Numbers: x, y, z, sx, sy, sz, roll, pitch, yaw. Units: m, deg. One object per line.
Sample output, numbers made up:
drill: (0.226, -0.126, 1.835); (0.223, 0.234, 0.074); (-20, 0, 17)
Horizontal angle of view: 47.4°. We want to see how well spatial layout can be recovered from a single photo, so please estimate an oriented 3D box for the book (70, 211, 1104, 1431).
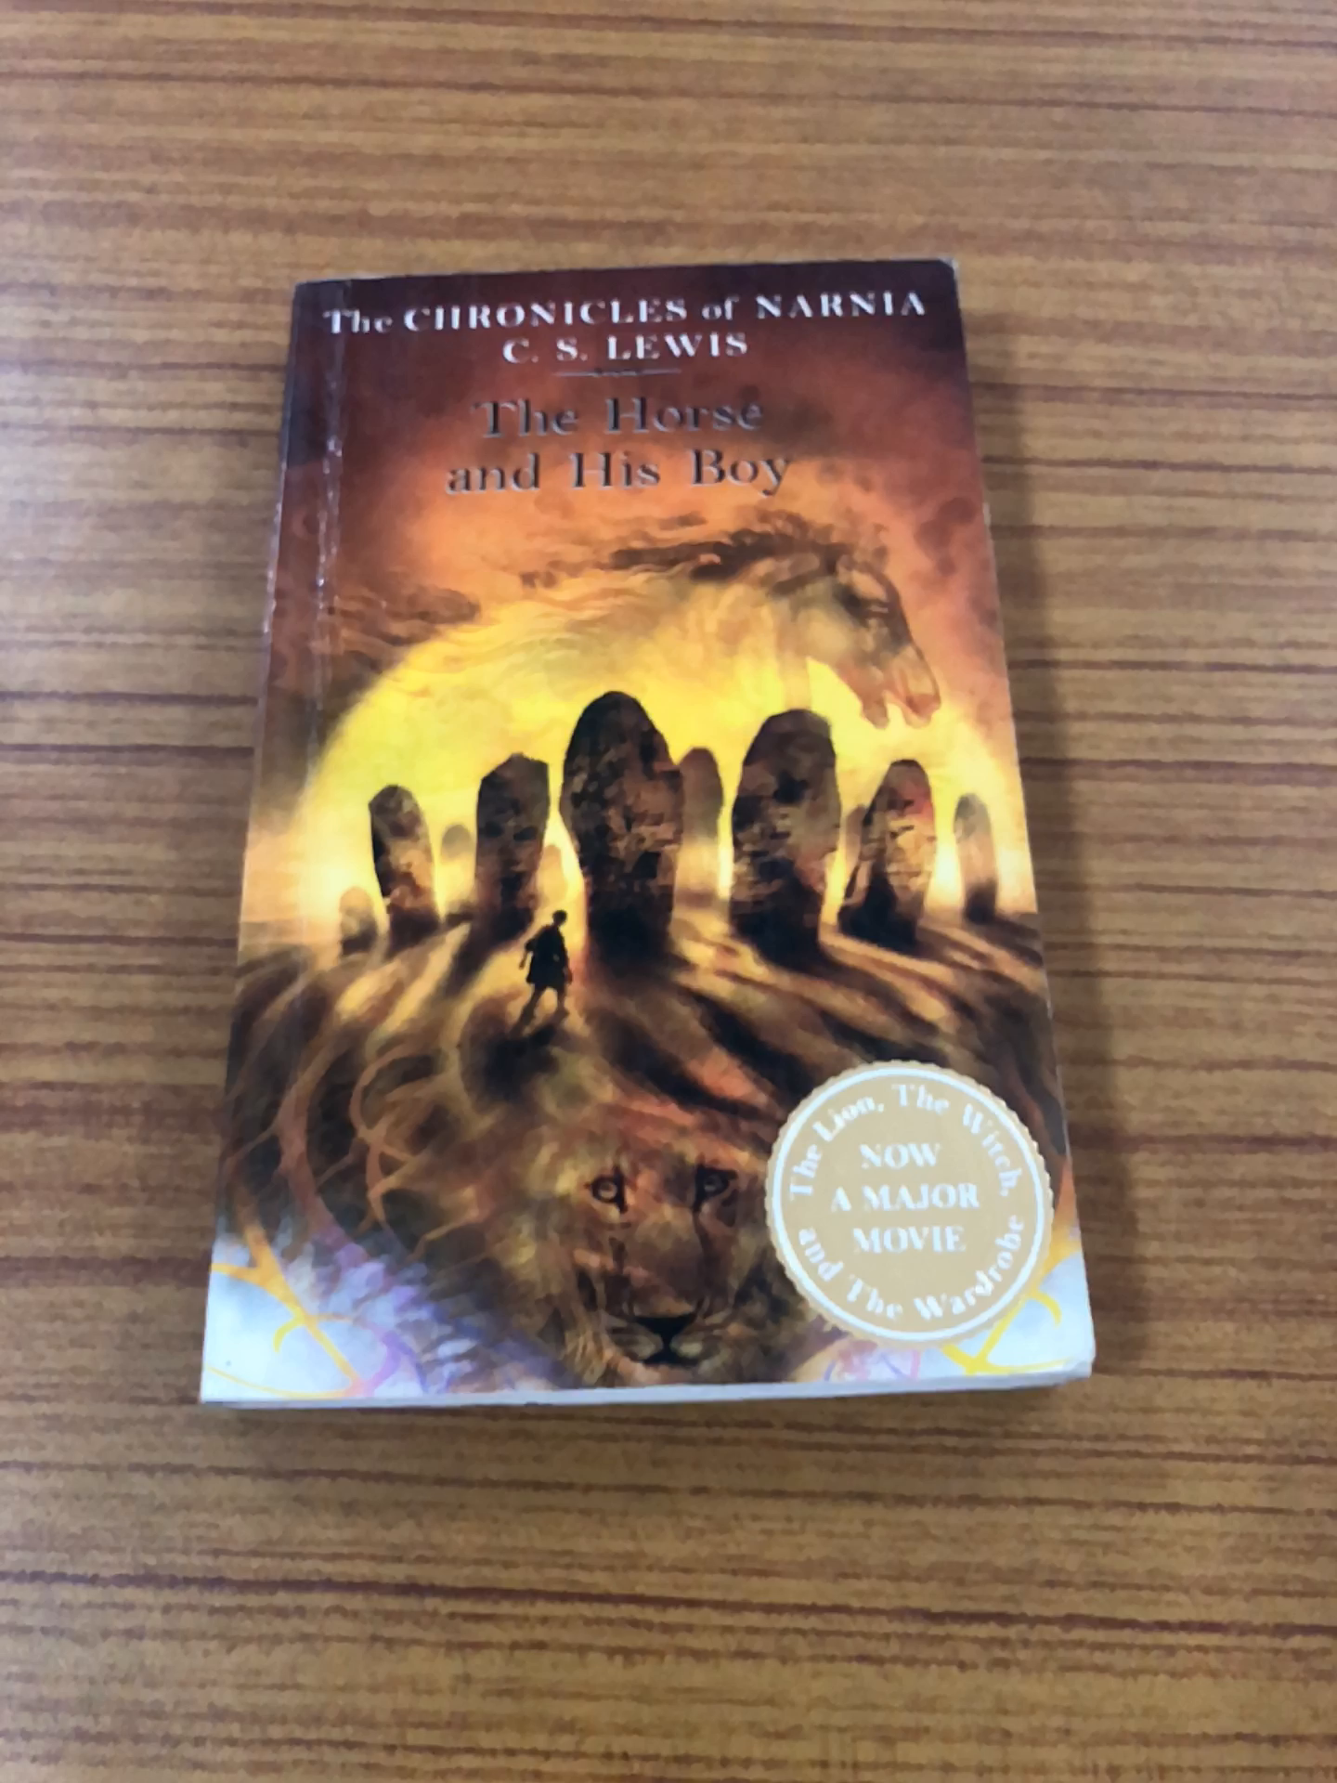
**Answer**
book: (-0.011, -0.020, 0.219); (0.120, 0.020, 0.180); (-1, 69, -1)
